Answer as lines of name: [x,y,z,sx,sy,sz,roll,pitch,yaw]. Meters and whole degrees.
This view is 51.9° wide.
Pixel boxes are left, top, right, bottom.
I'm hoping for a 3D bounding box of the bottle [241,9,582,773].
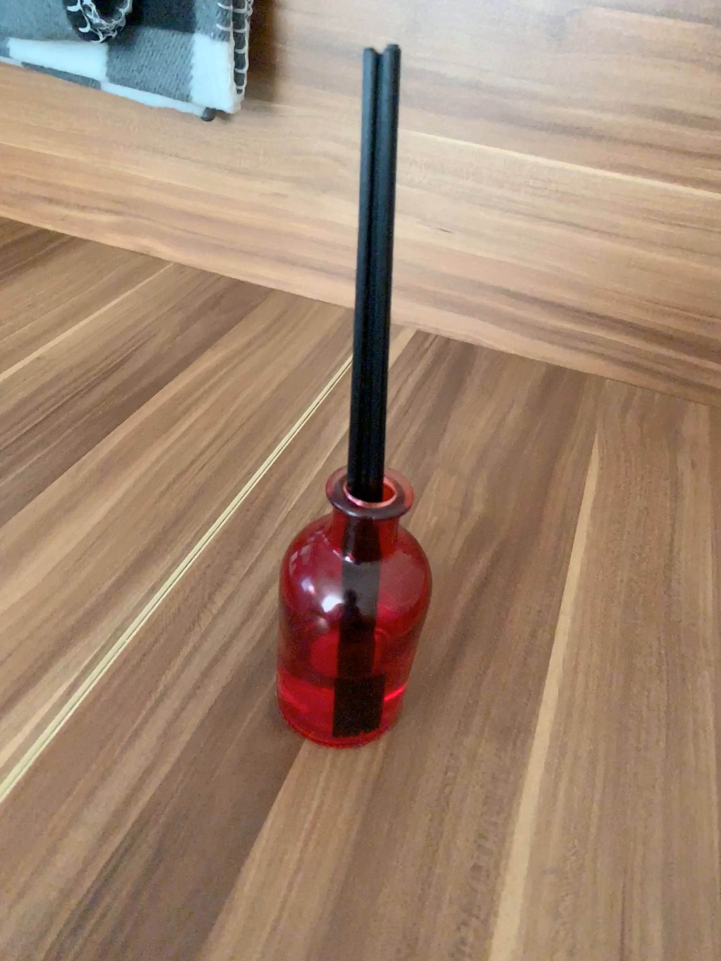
bottle: [0.002,-0.004,0.237,0.060,0.239,0.050,21,40,16]
